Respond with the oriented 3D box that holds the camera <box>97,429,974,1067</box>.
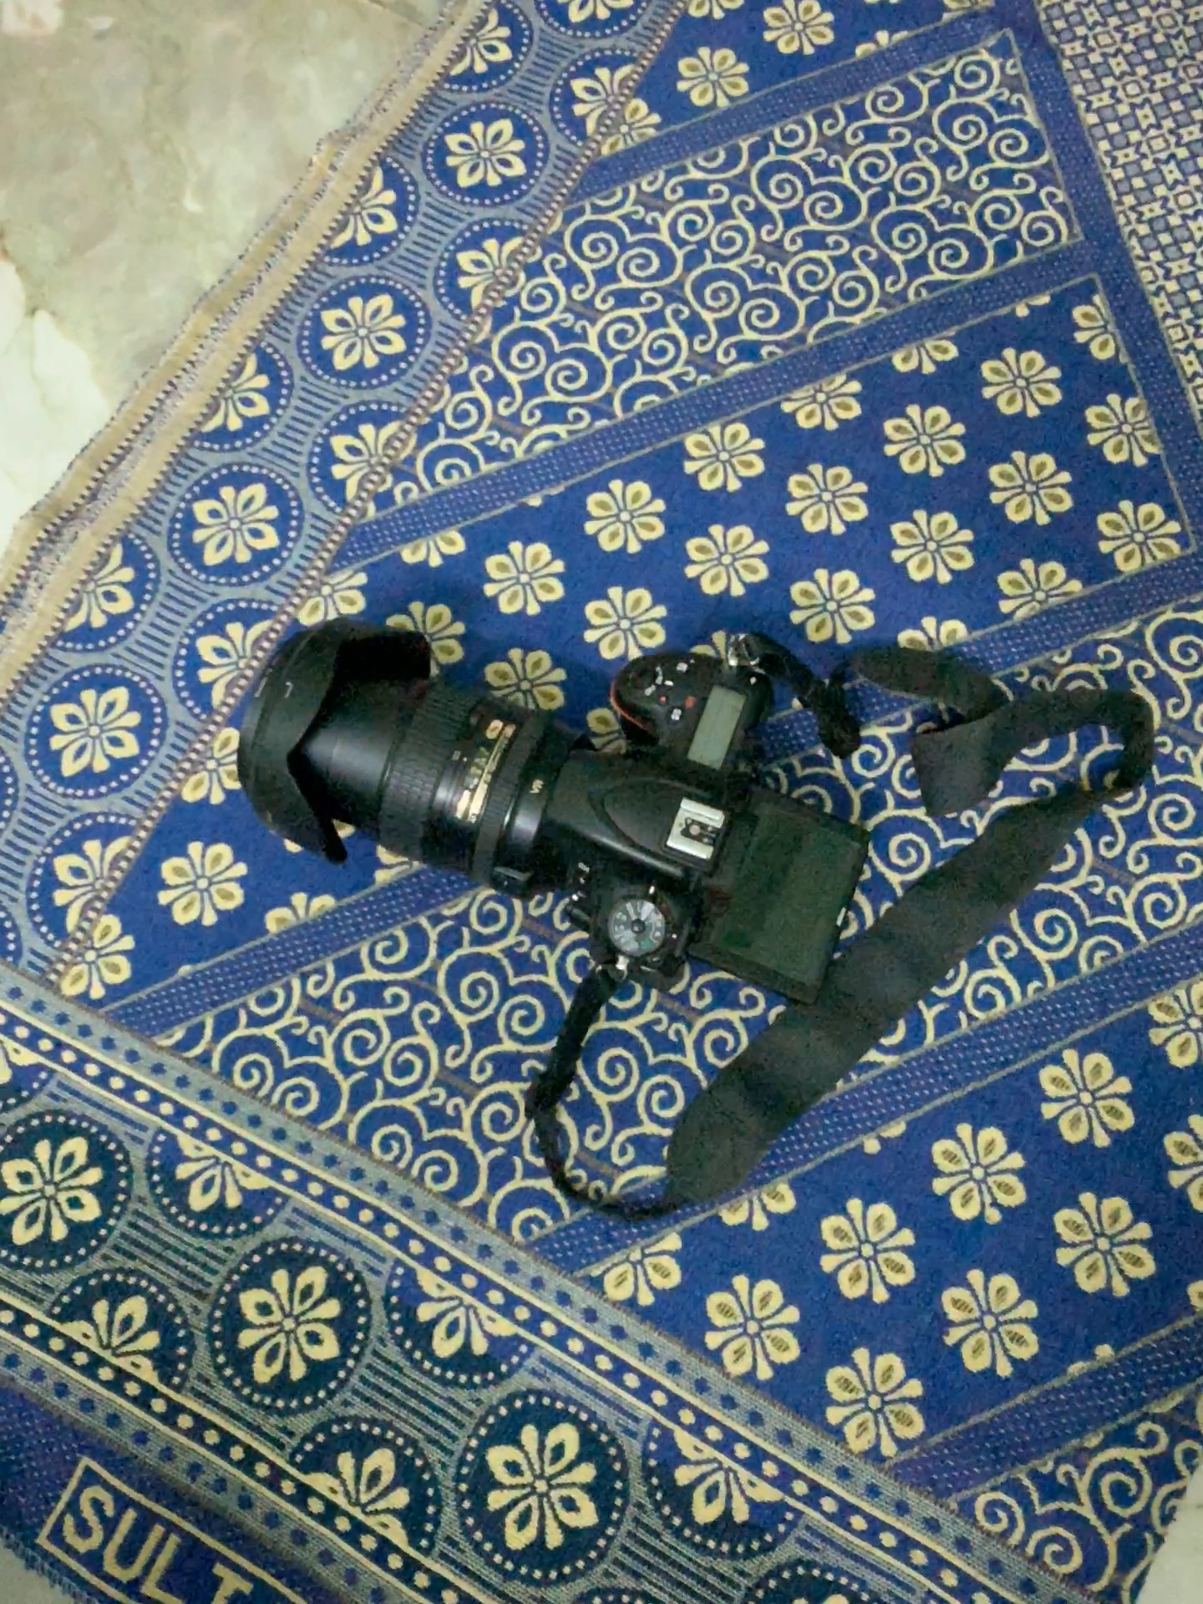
[{"bbox_3d":[-0.026,-0.021,0.553,0.320,0.110,0.160,21,77,9],"label":"camera"}]
